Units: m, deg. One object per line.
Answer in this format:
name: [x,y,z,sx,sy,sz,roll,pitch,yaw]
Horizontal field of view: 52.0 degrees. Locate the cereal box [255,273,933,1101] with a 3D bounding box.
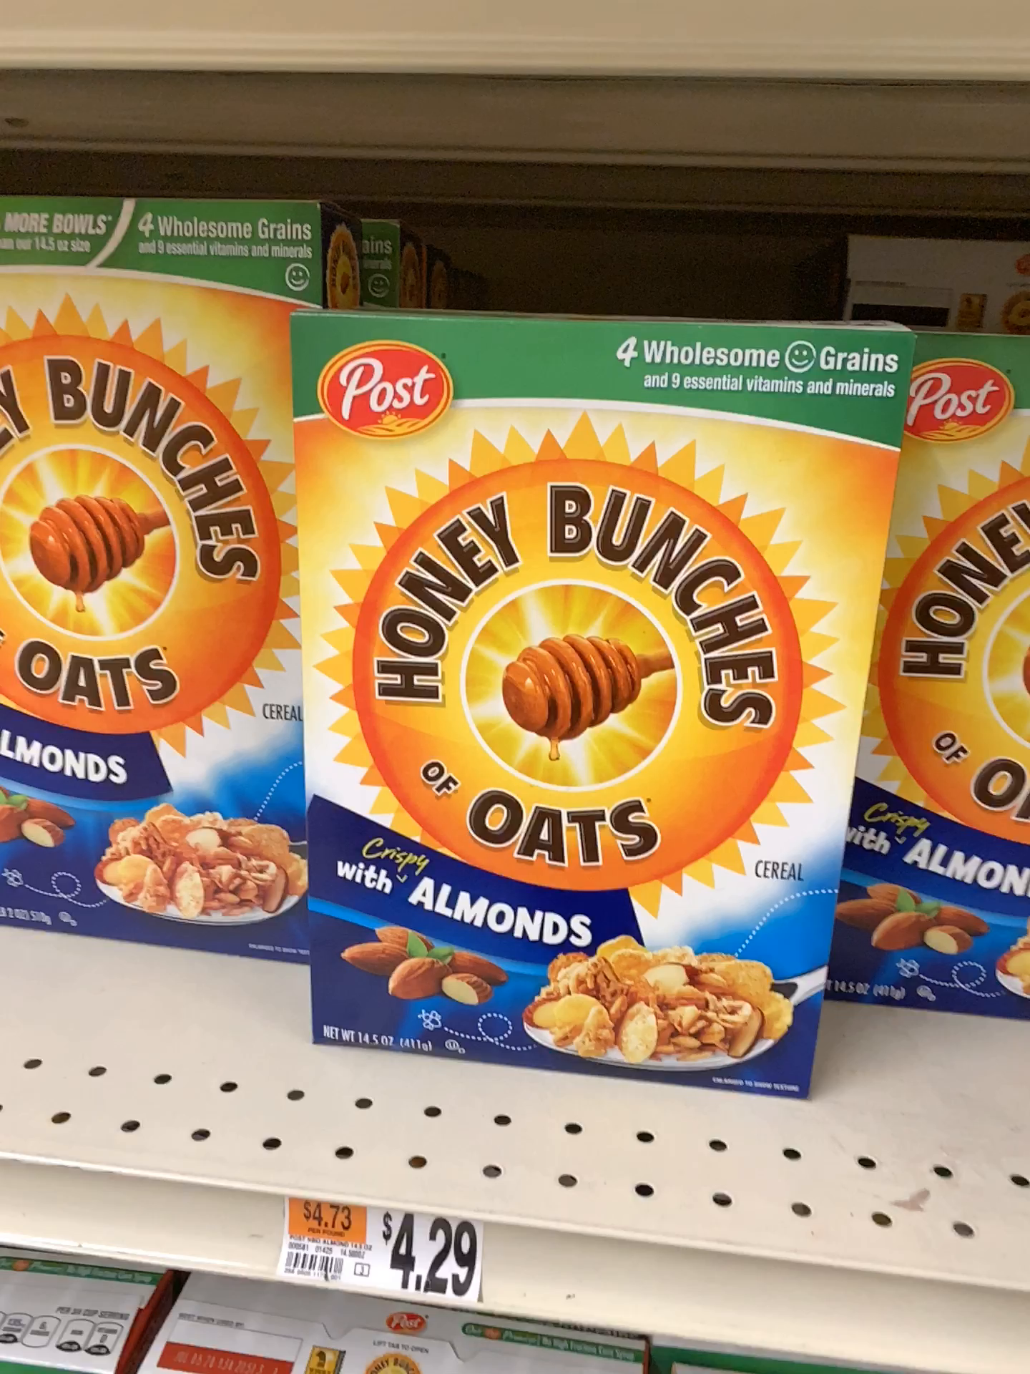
cereal box: [0.019,0.003,0.384,0.200,0.279,0.060,4,19,7]
